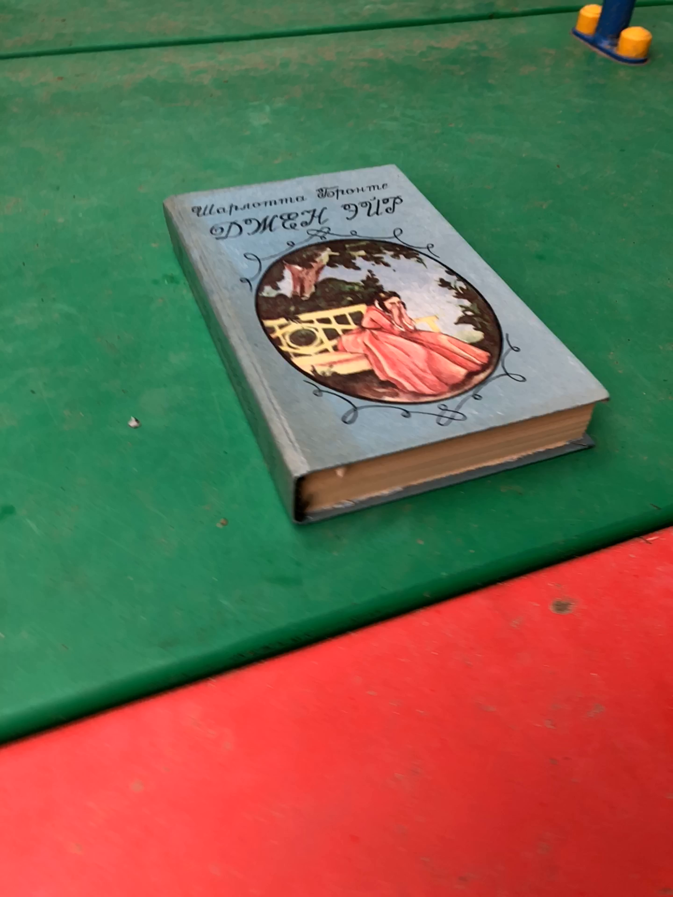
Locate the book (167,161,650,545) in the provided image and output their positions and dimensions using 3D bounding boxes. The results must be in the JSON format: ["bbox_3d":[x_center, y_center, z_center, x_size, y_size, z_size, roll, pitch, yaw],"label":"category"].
[{"bbox_3d":[0.016,-0.060,0.328,0.135,0.030,0.196,-14,49,-17],"label":"book"}]
